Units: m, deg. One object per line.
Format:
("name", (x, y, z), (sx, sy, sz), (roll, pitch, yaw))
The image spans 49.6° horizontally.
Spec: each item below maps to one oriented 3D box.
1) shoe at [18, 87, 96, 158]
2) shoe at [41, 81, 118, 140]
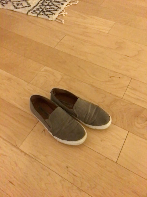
("shoe", (-0.066, 0.079, 0.609), (0.280, 0.050, 0.121), (34, 64, 22))
("shoe", (0.019, 0.037, 0.638), (0.280, 0.050, 0.111), (28, 62, 19))
